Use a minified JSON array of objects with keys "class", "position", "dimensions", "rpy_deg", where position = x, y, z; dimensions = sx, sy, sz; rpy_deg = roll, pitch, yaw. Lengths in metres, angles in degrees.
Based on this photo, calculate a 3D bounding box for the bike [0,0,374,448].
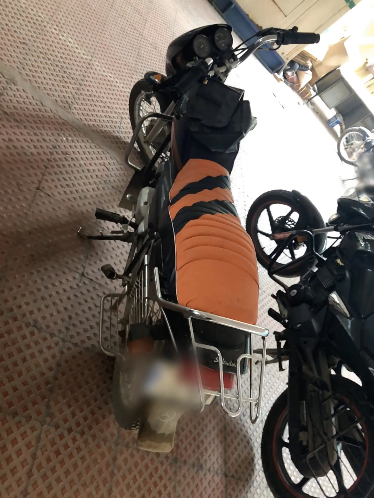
[{"class":"bike","position":[-0.083,-0.230,1.419],"dimensions":[0.689,1.124,1.407],"rpy_deg":[30,42,-36]}]
